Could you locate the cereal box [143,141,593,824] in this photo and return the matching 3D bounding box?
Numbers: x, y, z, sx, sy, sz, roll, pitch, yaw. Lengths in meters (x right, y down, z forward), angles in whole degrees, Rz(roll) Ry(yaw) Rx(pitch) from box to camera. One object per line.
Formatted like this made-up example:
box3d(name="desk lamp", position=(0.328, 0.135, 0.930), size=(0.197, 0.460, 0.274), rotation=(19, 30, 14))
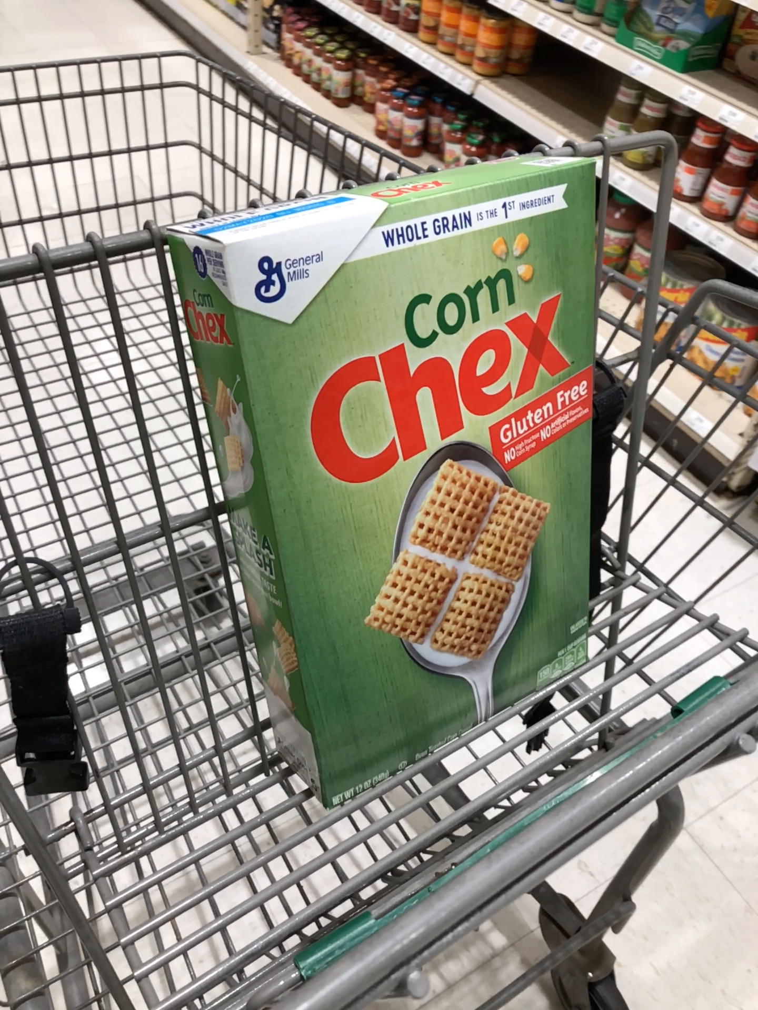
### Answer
box3d(name="cereal box", position=(0.019, -0.011, 0.443), size=(0.200, 0.310, 0.060), rotation=(-22, 30, -26))
